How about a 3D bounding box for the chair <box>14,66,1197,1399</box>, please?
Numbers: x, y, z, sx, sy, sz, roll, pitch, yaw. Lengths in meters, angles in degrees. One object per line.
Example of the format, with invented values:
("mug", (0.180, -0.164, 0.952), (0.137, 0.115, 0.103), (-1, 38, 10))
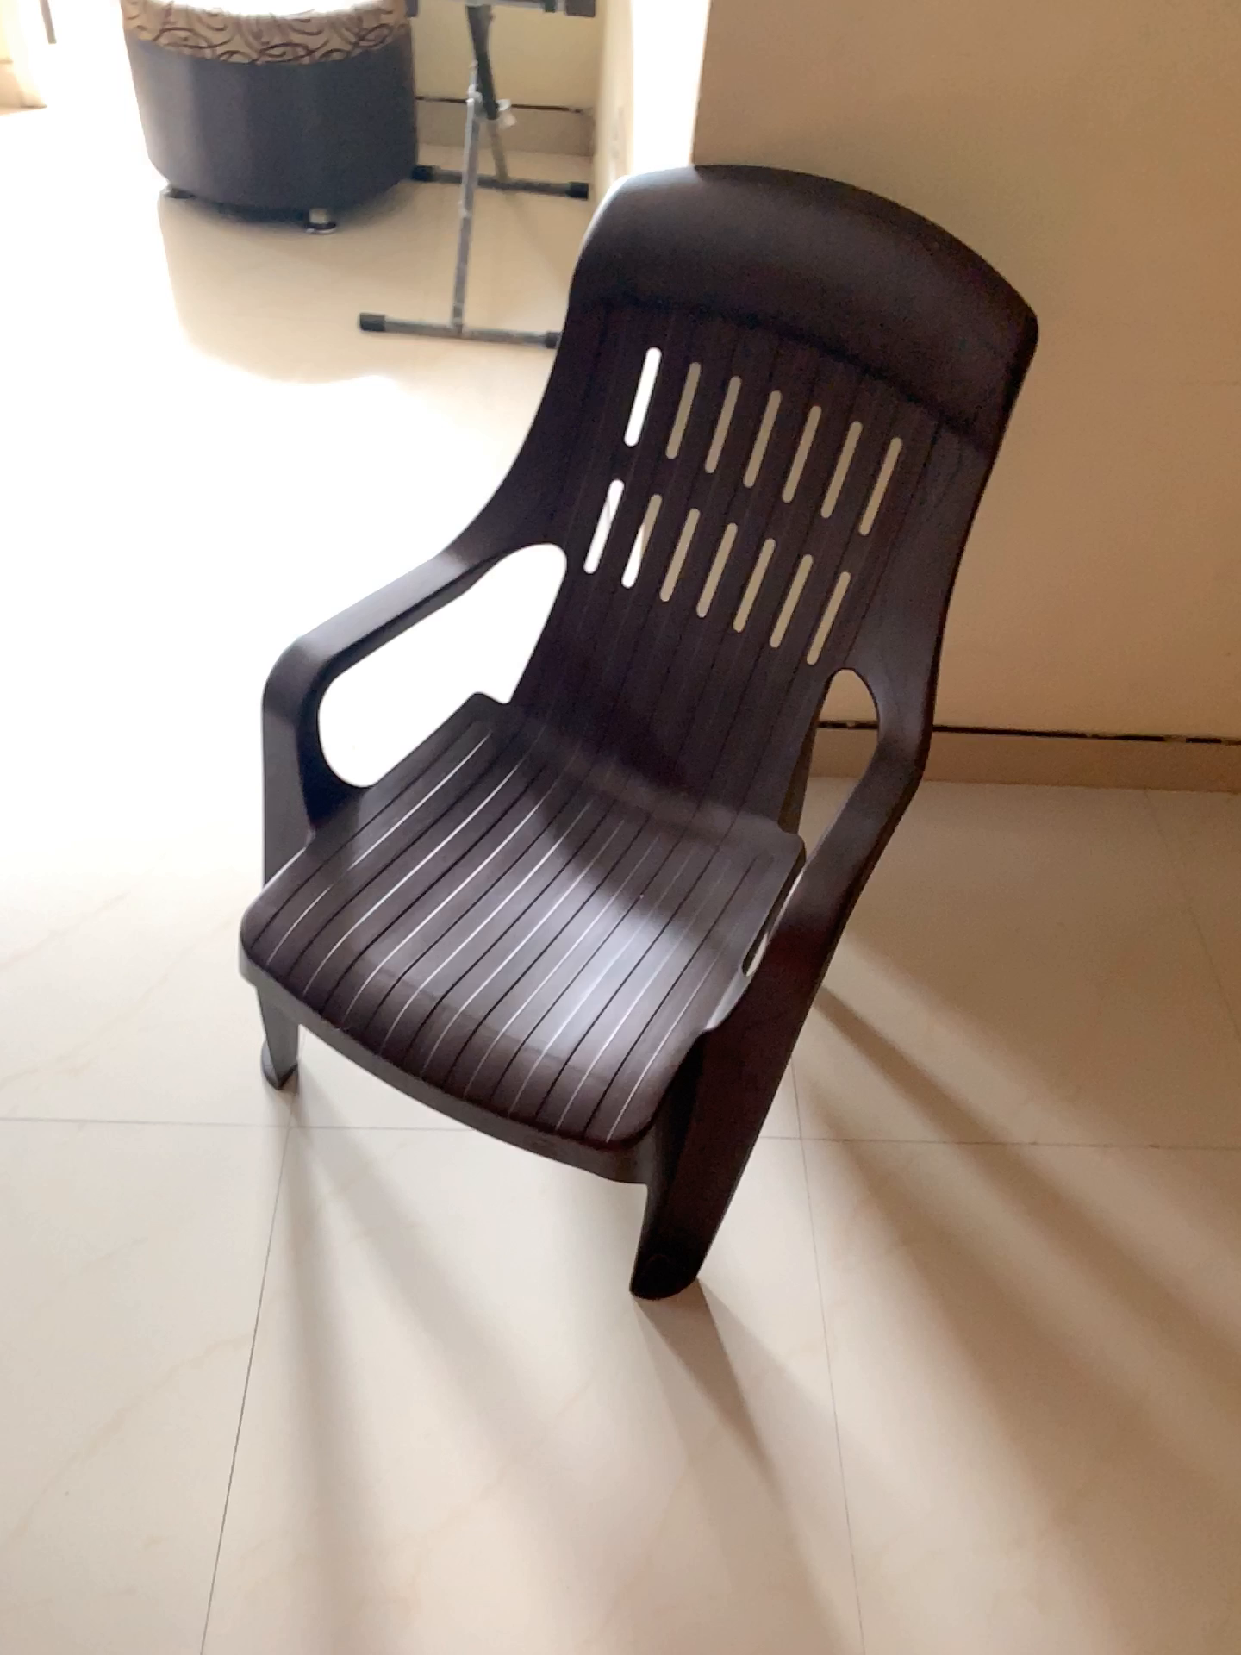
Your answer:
("chair", (-0.001, -0.043, 1.297), (0.601, 1.032, 0.664), (26, 51, 16))
